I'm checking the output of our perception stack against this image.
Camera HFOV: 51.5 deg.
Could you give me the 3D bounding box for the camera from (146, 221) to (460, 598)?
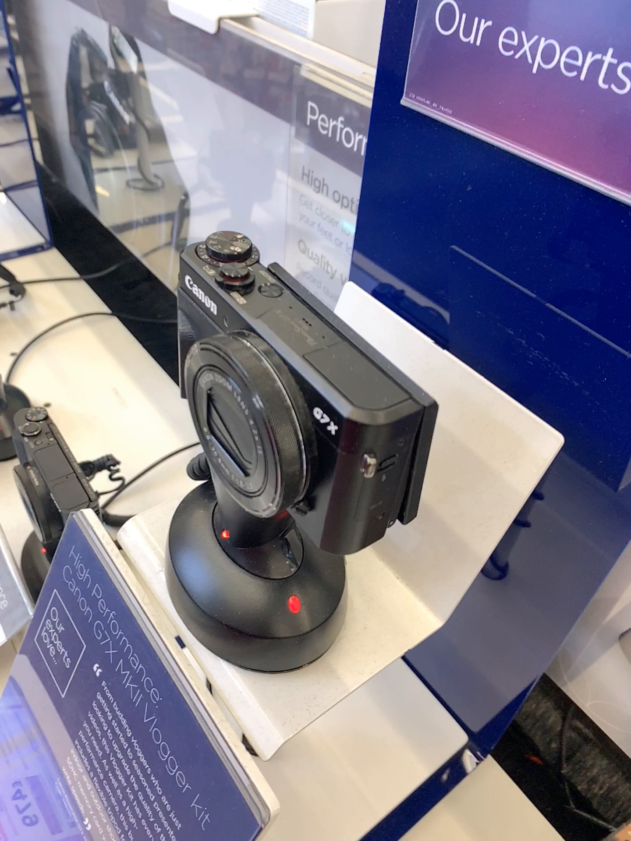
[{"bbox_3d":[-0.013,-0.010,0.207,0.038,0.059,0.109,-19,48,-29],"label":"camera"}]
